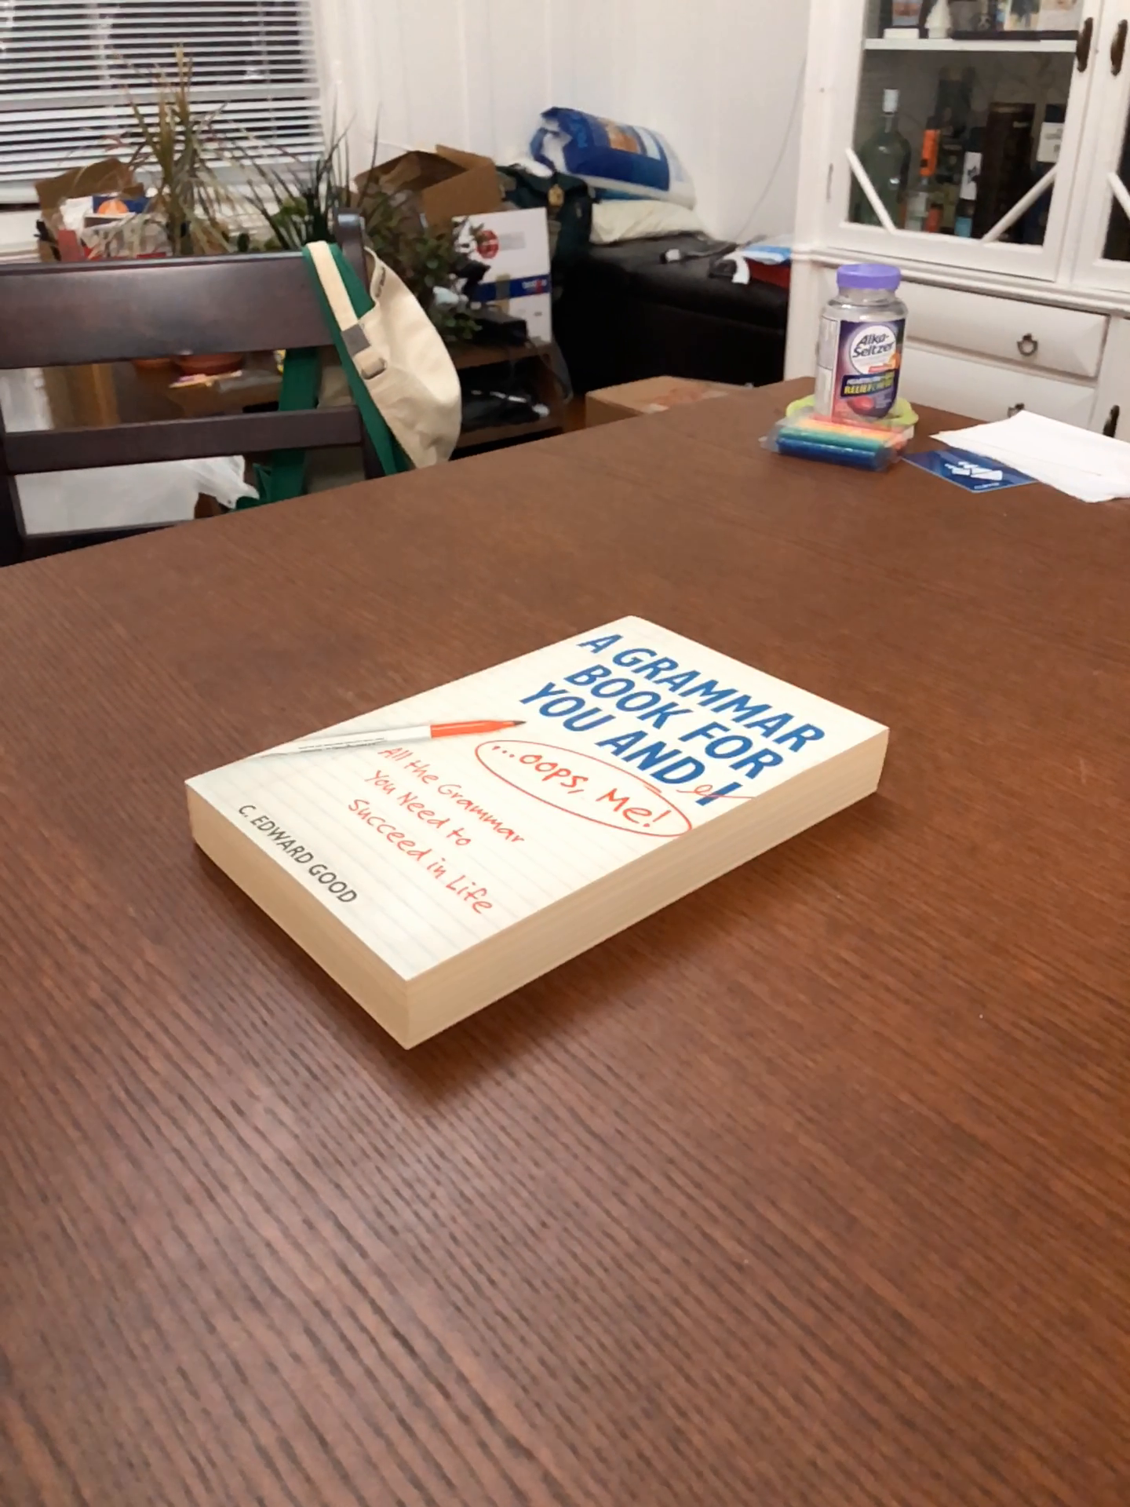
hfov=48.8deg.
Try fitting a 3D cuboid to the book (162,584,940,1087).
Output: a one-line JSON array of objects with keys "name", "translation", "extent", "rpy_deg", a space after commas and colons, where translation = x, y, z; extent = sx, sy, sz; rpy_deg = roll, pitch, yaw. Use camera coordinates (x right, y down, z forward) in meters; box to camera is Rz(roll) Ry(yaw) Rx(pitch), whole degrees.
[{"name": "book", "translation": [-0.003, 0.009, 0.480], "extent": [0.241, 0.040, 0.171], "rpy_deg": [-23, 37, -33]}]
